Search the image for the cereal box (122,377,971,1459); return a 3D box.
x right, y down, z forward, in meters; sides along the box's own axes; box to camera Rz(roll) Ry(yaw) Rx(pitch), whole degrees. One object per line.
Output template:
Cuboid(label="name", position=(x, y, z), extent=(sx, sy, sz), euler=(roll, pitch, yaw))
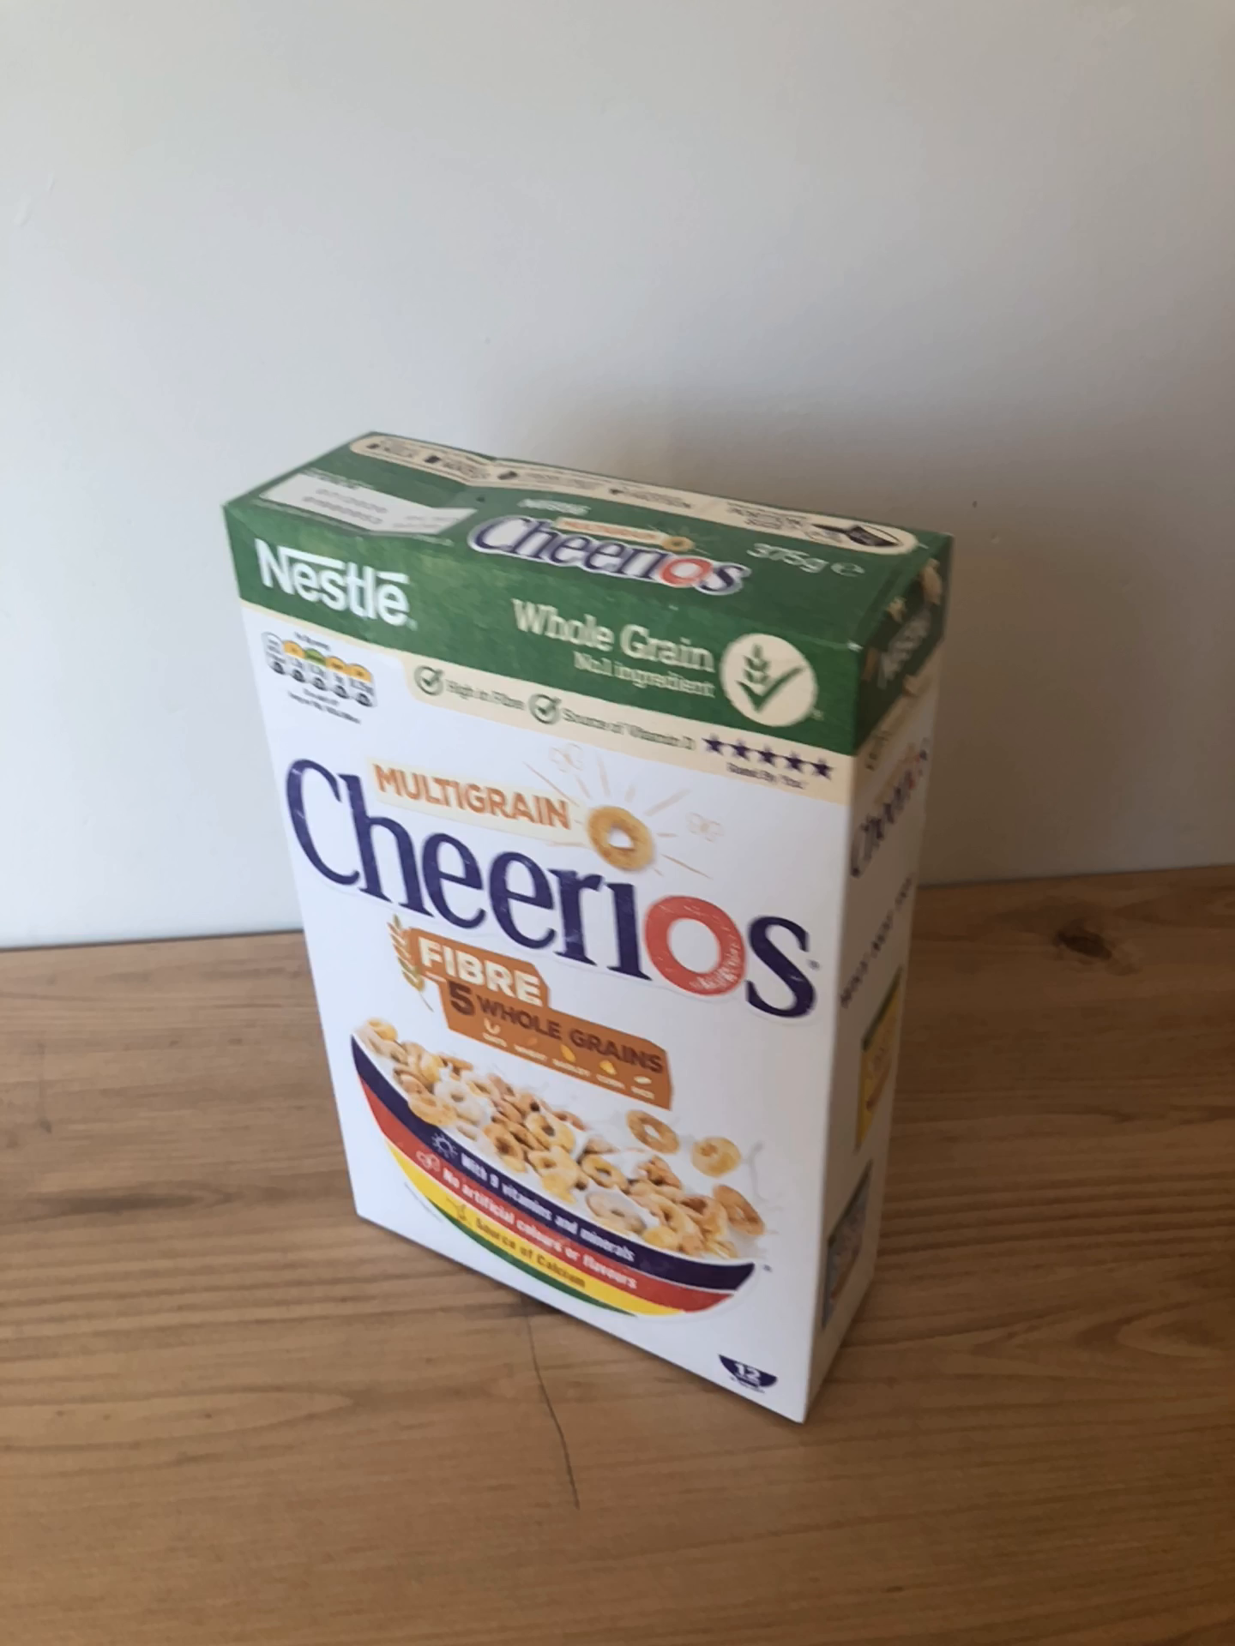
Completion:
Cuboid(label="cereal box", position=(-0.020, 0.036, 0.443), extent=(0.210, 0.308, 0.080), euler=(17, 38, 24))
